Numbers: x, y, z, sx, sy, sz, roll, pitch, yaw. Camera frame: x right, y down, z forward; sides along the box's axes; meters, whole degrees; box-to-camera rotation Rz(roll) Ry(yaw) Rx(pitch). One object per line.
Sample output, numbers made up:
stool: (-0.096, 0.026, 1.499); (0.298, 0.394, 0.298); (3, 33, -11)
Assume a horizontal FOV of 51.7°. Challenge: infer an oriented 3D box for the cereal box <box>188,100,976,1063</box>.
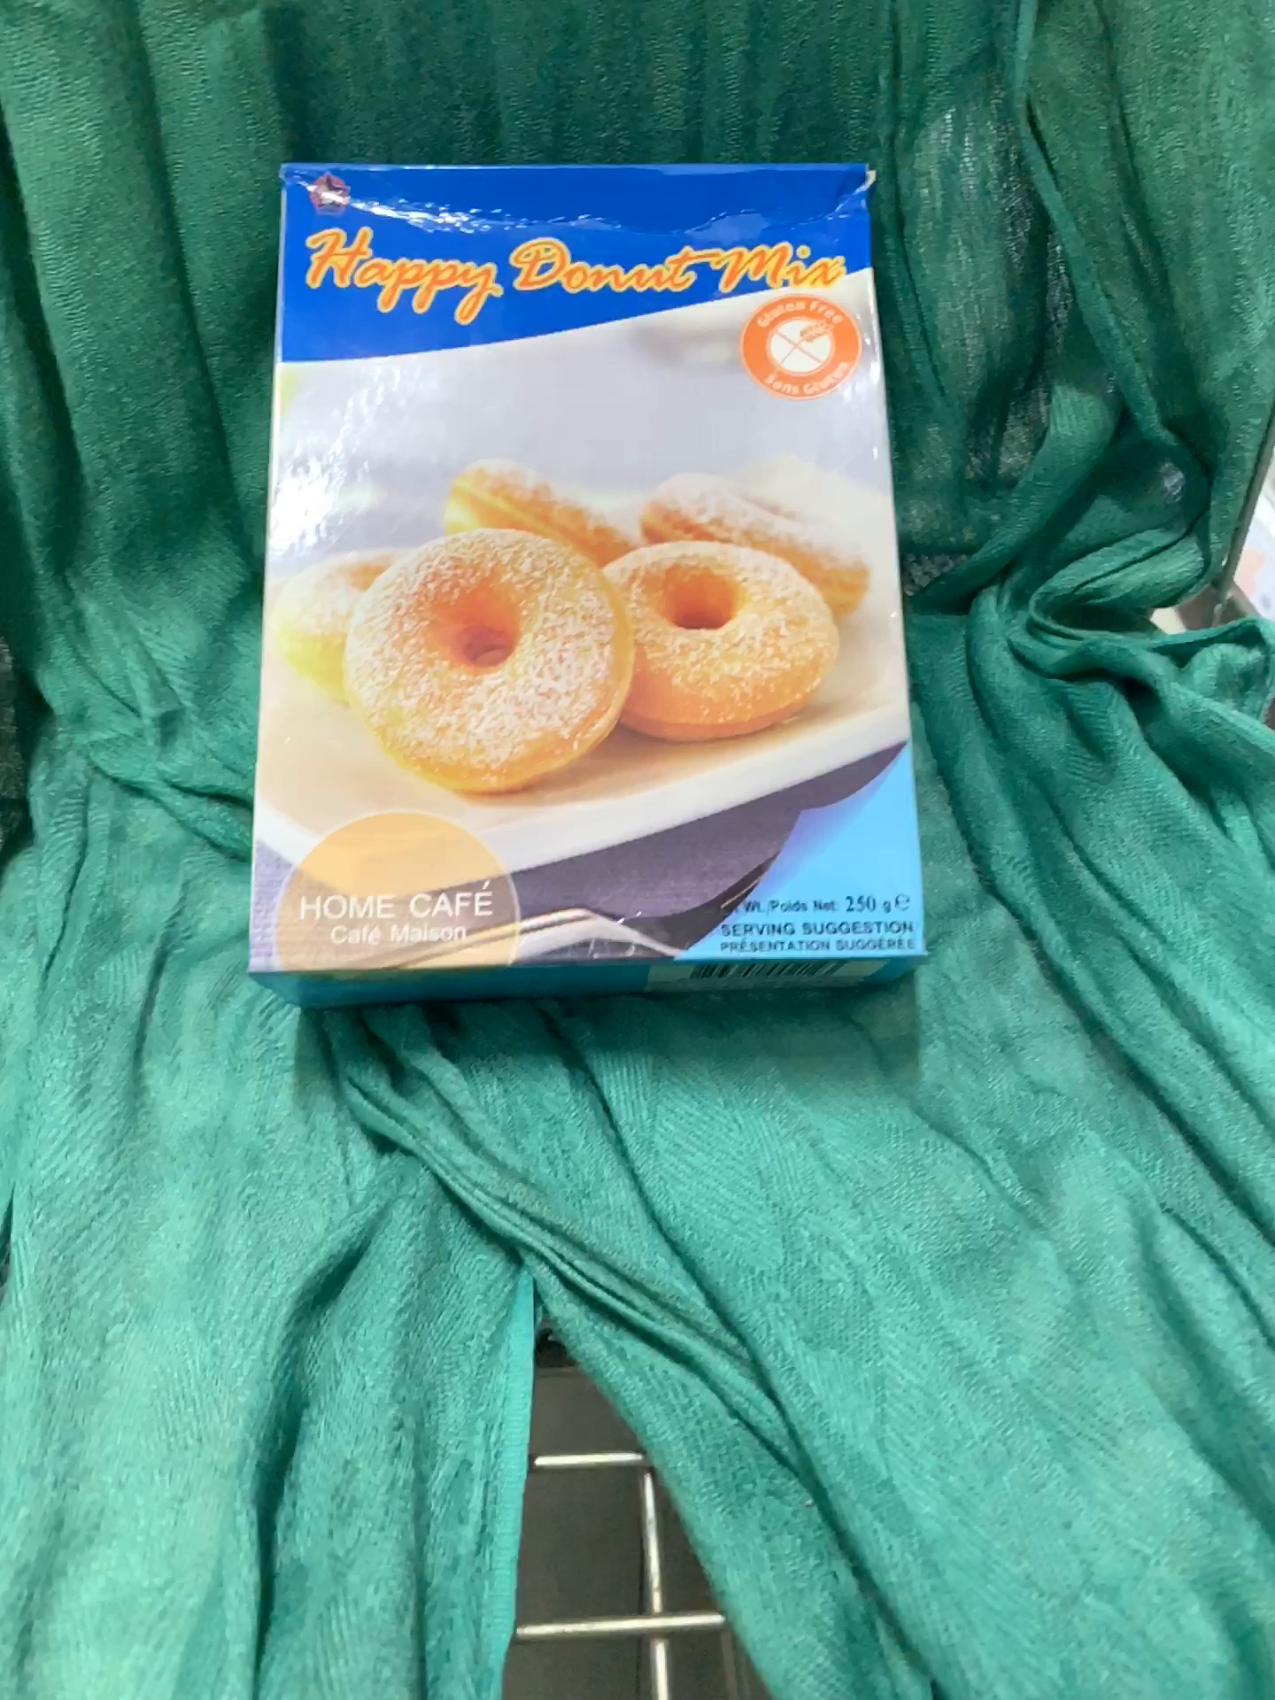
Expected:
cereal box: (-0.012, -0.052, 0.267); (0.130, 0.060, 0.180); (-1, 77, -4)
